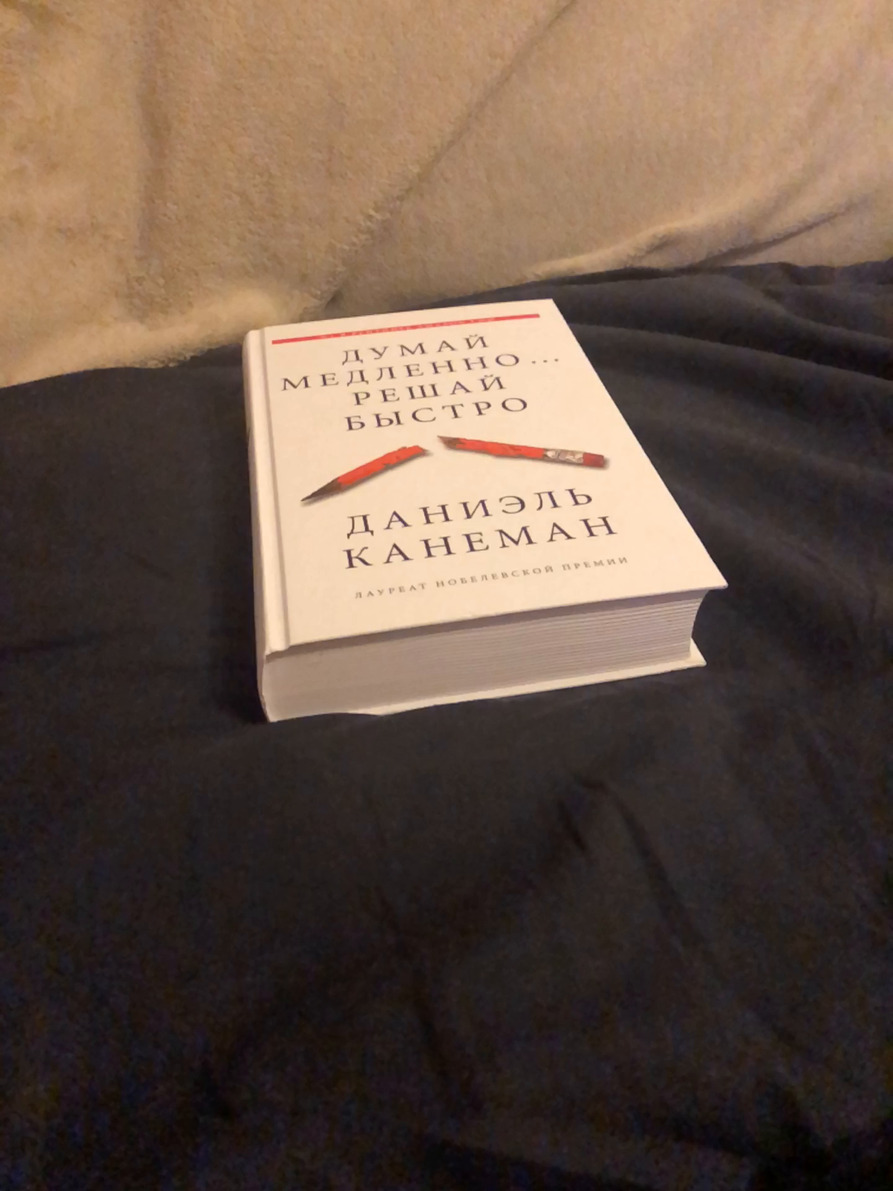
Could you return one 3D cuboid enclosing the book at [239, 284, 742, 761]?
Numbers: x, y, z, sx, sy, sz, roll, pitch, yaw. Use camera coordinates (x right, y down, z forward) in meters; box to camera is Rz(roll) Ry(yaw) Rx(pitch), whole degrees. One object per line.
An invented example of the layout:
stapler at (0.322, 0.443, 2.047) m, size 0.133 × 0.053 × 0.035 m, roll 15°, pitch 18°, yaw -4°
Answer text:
book at (-0.001, -0.047, 0.389) m, size 0.149 × 0.050 × 0.221 m, roll -8°, pitch 41°, yaw -6°
